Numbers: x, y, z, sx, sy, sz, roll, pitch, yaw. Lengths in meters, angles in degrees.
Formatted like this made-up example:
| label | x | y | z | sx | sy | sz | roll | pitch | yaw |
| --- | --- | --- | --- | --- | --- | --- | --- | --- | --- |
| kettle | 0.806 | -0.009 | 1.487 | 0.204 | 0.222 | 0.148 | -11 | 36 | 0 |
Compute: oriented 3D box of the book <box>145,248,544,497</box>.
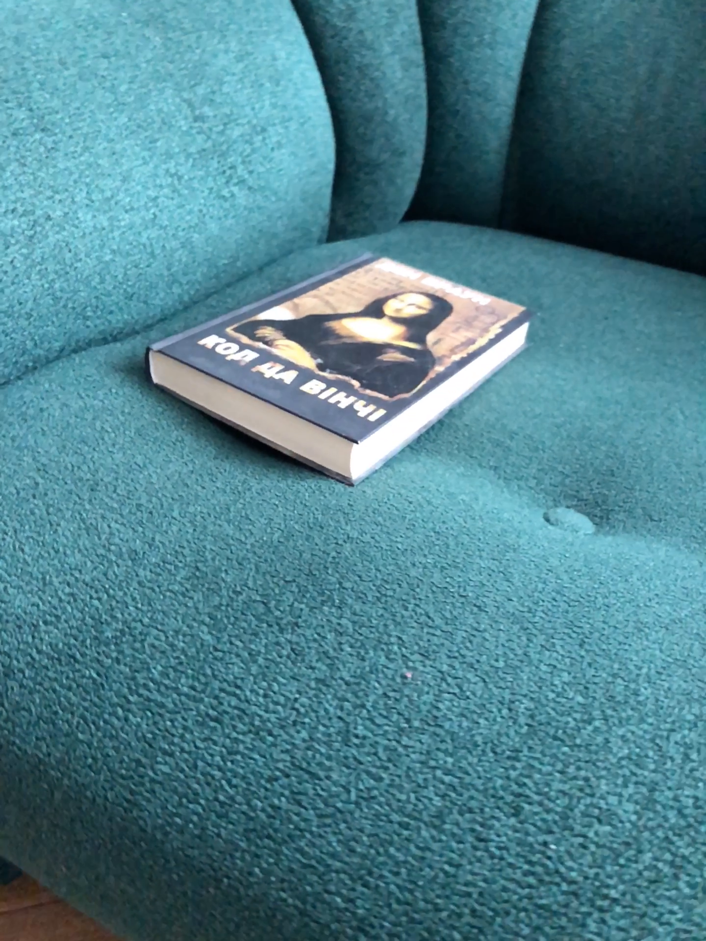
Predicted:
| label | x | y | z | sx | sy | sz | roll | pitch | yaw |
| --- | --- | --- | --- | --- | --- | --- | --- | --- | --- |
| book | 0.005 | -0.072 | 0.457 | 0.135 | 0.030 | 0.210 | 25 | 39 | 24 |
